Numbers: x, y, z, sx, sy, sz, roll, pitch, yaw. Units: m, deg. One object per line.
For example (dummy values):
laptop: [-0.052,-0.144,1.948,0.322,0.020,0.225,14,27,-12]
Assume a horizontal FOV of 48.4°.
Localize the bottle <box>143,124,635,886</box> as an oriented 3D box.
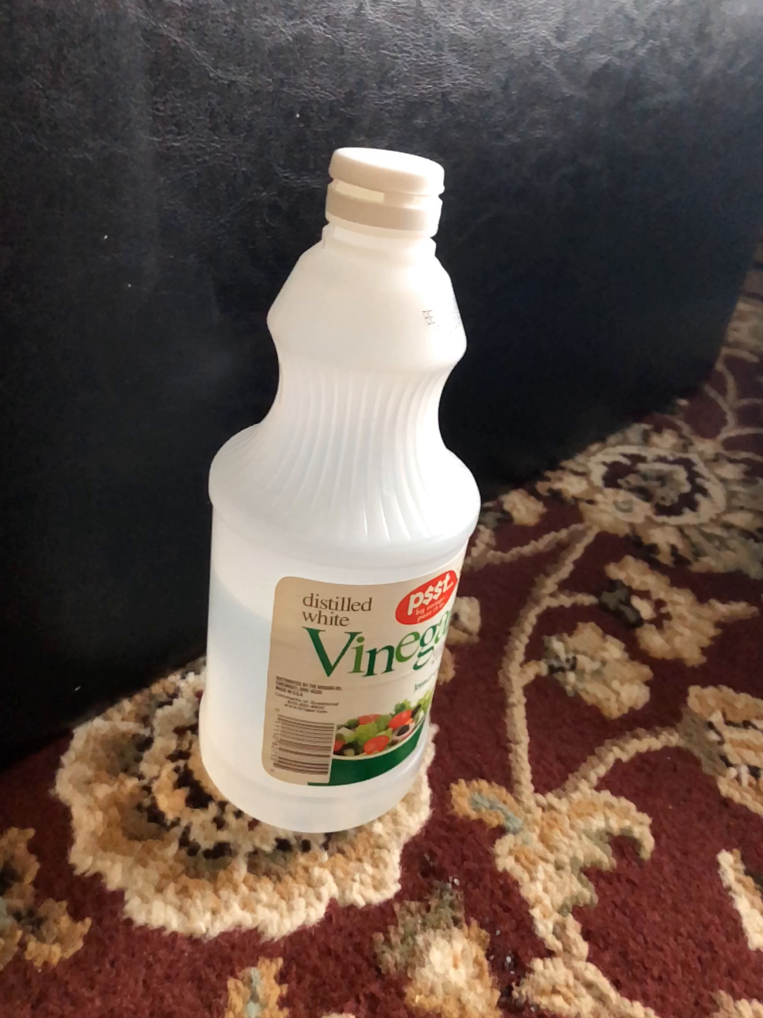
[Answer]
bottle: [-0.012,-0.001,0.286,0.100,0.219,0.090,-17,39,-36]
